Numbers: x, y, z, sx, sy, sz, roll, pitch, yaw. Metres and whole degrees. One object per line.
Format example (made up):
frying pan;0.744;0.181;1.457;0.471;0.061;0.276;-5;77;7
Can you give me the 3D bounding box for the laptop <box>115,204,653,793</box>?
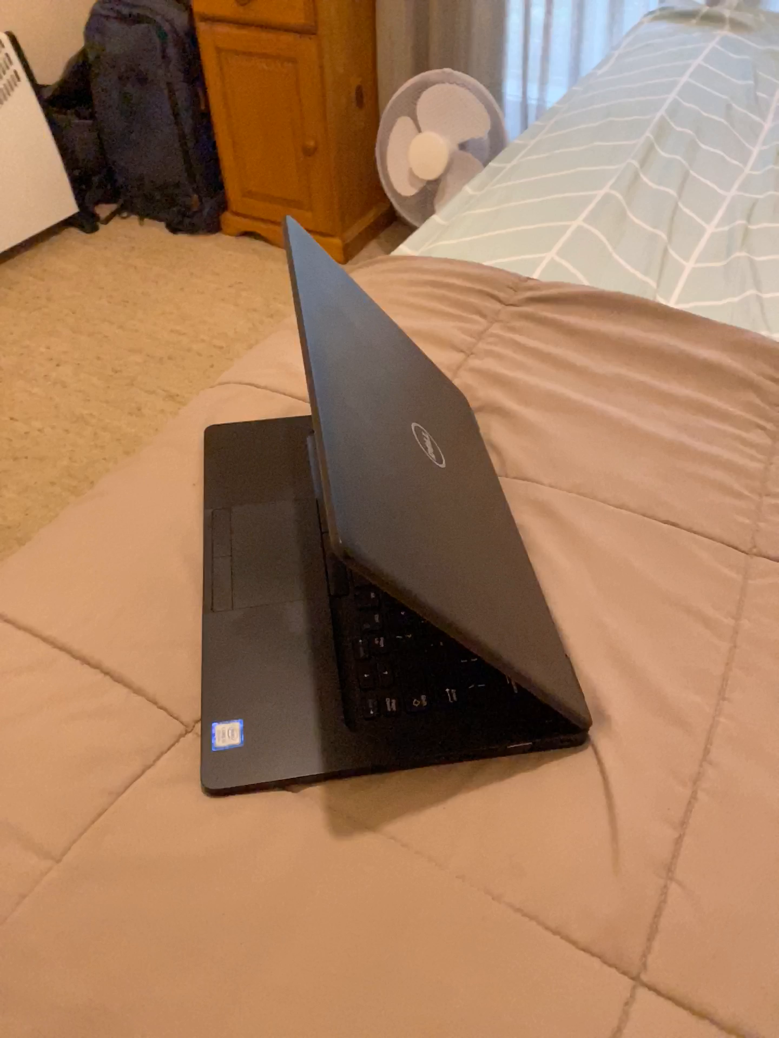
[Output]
laptop;-0.022;-0.038;0.515;0.226;0.183;0.336;-7;45;-6
